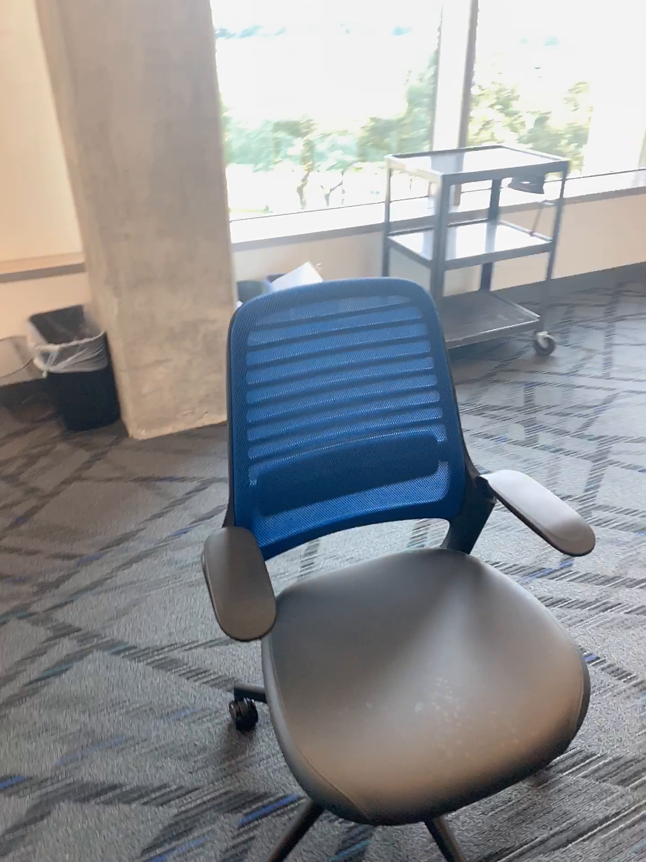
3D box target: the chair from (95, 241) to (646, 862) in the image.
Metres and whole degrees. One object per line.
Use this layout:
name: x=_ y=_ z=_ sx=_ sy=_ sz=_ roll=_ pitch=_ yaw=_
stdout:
chair: x=0.137 y=0.273 z=1.039 sx=0.701 sy=0.882 sz=0.685 roll=-14 pitch=34 yaw=-21
